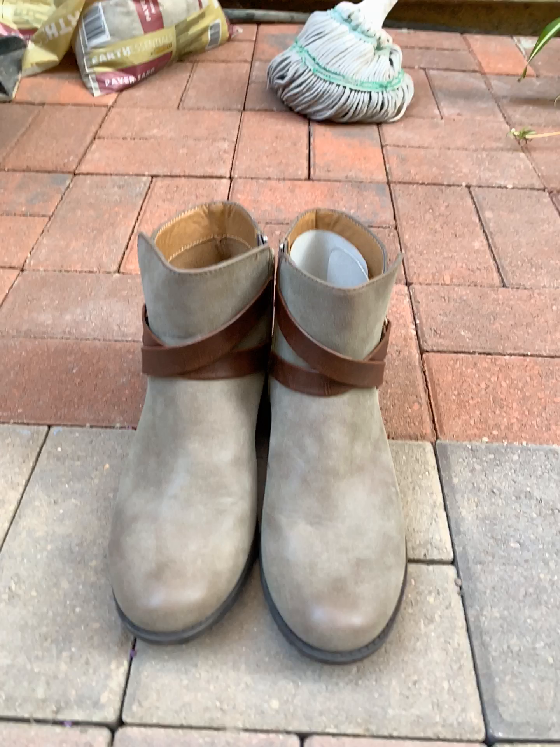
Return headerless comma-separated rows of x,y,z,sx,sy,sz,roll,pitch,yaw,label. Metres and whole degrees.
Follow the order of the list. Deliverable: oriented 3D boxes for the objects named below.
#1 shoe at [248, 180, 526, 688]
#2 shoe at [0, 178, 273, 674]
0.038,0.024,0.344,0.095,0.165,0.253,1,47,0,shoe
-0.059,0.021,0.343,0.095,0.165,0.241,2,47,2,shoe
